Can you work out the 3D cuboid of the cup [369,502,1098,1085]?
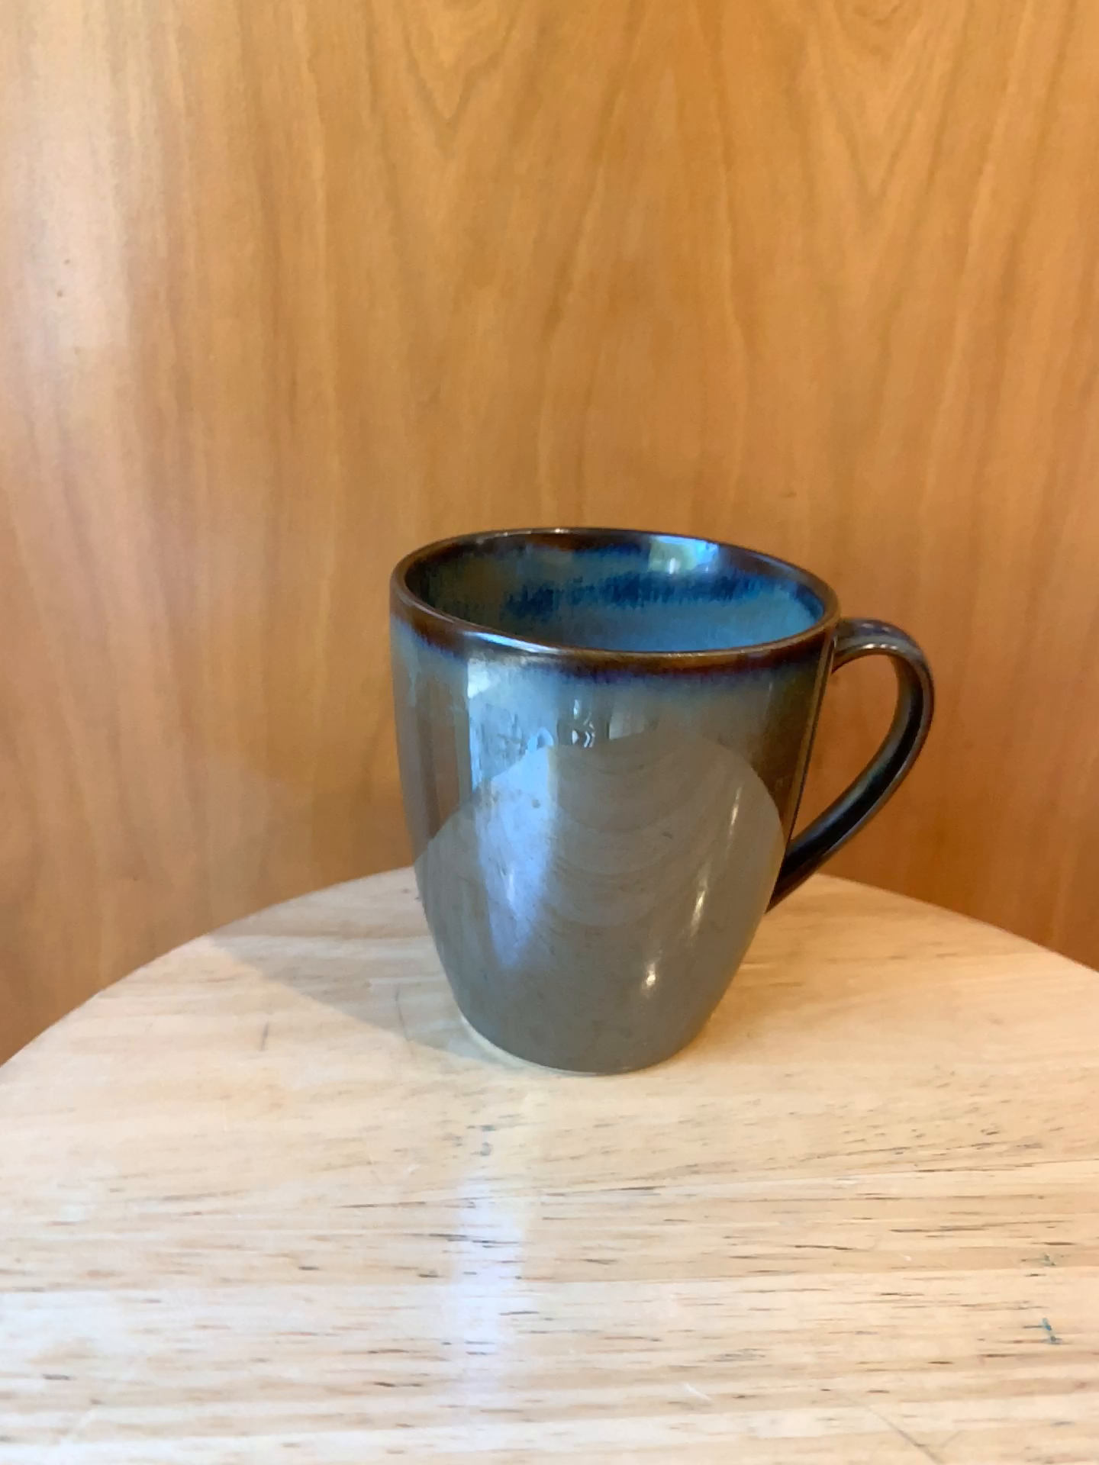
[{"bbox_3d":[0.025,0.007,0.237,0.120,0.090,0.080,0,23,-7],"label":"cup"}]
